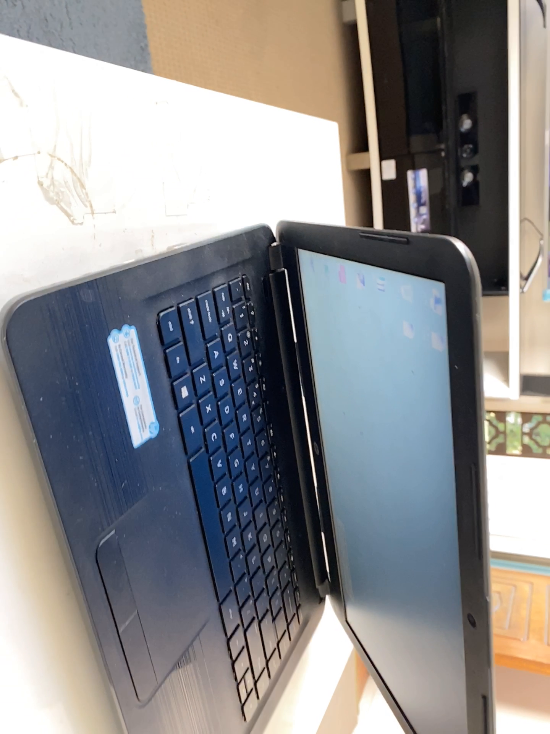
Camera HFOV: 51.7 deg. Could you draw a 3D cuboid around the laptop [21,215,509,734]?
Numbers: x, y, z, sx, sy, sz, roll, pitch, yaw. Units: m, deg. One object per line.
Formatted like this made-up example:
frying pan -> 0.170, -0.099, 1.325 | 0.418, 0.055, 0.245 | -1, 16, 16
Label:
laptop -> 0.041, 0.103, 0.334 | 0.226, 0.154, 0.336 | -37, 123, -58
